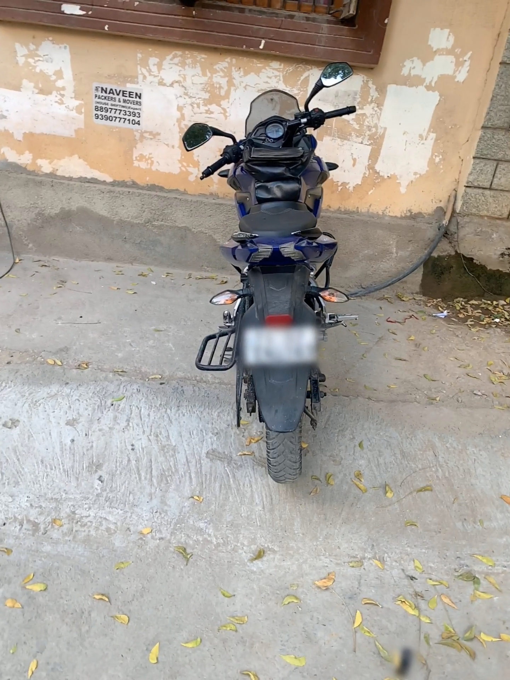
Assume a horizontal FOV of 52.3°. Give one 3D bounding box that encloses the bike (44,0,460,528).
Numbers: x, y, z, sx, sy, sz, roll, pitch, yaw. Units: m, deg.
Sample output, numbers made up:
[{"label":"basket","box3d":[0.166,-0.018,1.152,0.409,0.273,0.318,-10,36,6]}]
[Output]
[{"label":"bike","box3d":[-0.172,-0.454,2.069,0.953,1.218,1.575,2,35,-9]}]
